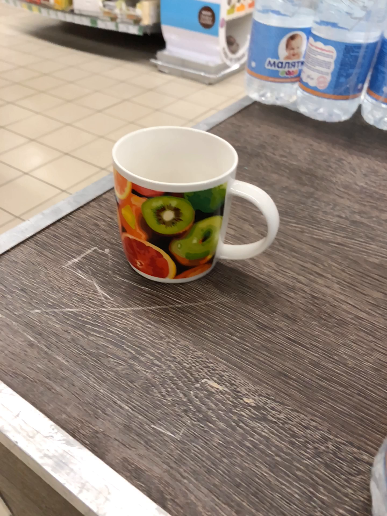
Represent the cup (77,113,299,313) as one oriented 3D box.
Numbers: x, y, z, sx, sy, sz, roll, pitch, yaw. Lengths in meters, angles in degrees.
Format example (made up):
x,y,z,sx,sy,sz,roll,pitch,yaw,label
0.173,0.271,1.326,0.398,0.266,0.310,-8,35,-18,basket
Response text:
x,y,z,sx,sy,sz,roll,pitch,yaw,label
-0.002,-0.039,0.320,0.126,0.085,0.092,17,42,16,cup
